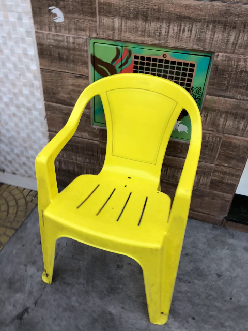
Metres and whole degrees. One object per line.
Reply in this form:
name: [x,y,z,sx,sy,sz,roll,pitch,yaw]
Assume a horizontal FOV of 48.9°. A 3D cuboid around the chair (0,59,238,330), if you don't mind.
chair: [-0.026,0.105,1.010,0.640,0.744,0.544,14,38,15]
